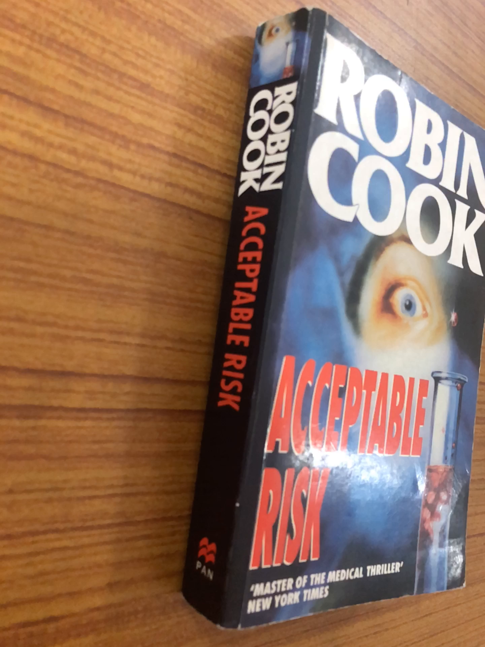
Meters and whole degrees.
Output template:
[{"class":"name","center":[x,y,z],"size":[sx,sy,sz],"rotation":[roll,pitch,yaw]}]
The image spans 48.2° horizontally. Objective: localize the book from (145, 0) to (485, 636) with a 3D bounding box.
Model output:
[{"class":"book","center":[0.039,0.001,0.189],"size":[0.111,0.040,0.170],"rotation":[13,85,-38]}]
